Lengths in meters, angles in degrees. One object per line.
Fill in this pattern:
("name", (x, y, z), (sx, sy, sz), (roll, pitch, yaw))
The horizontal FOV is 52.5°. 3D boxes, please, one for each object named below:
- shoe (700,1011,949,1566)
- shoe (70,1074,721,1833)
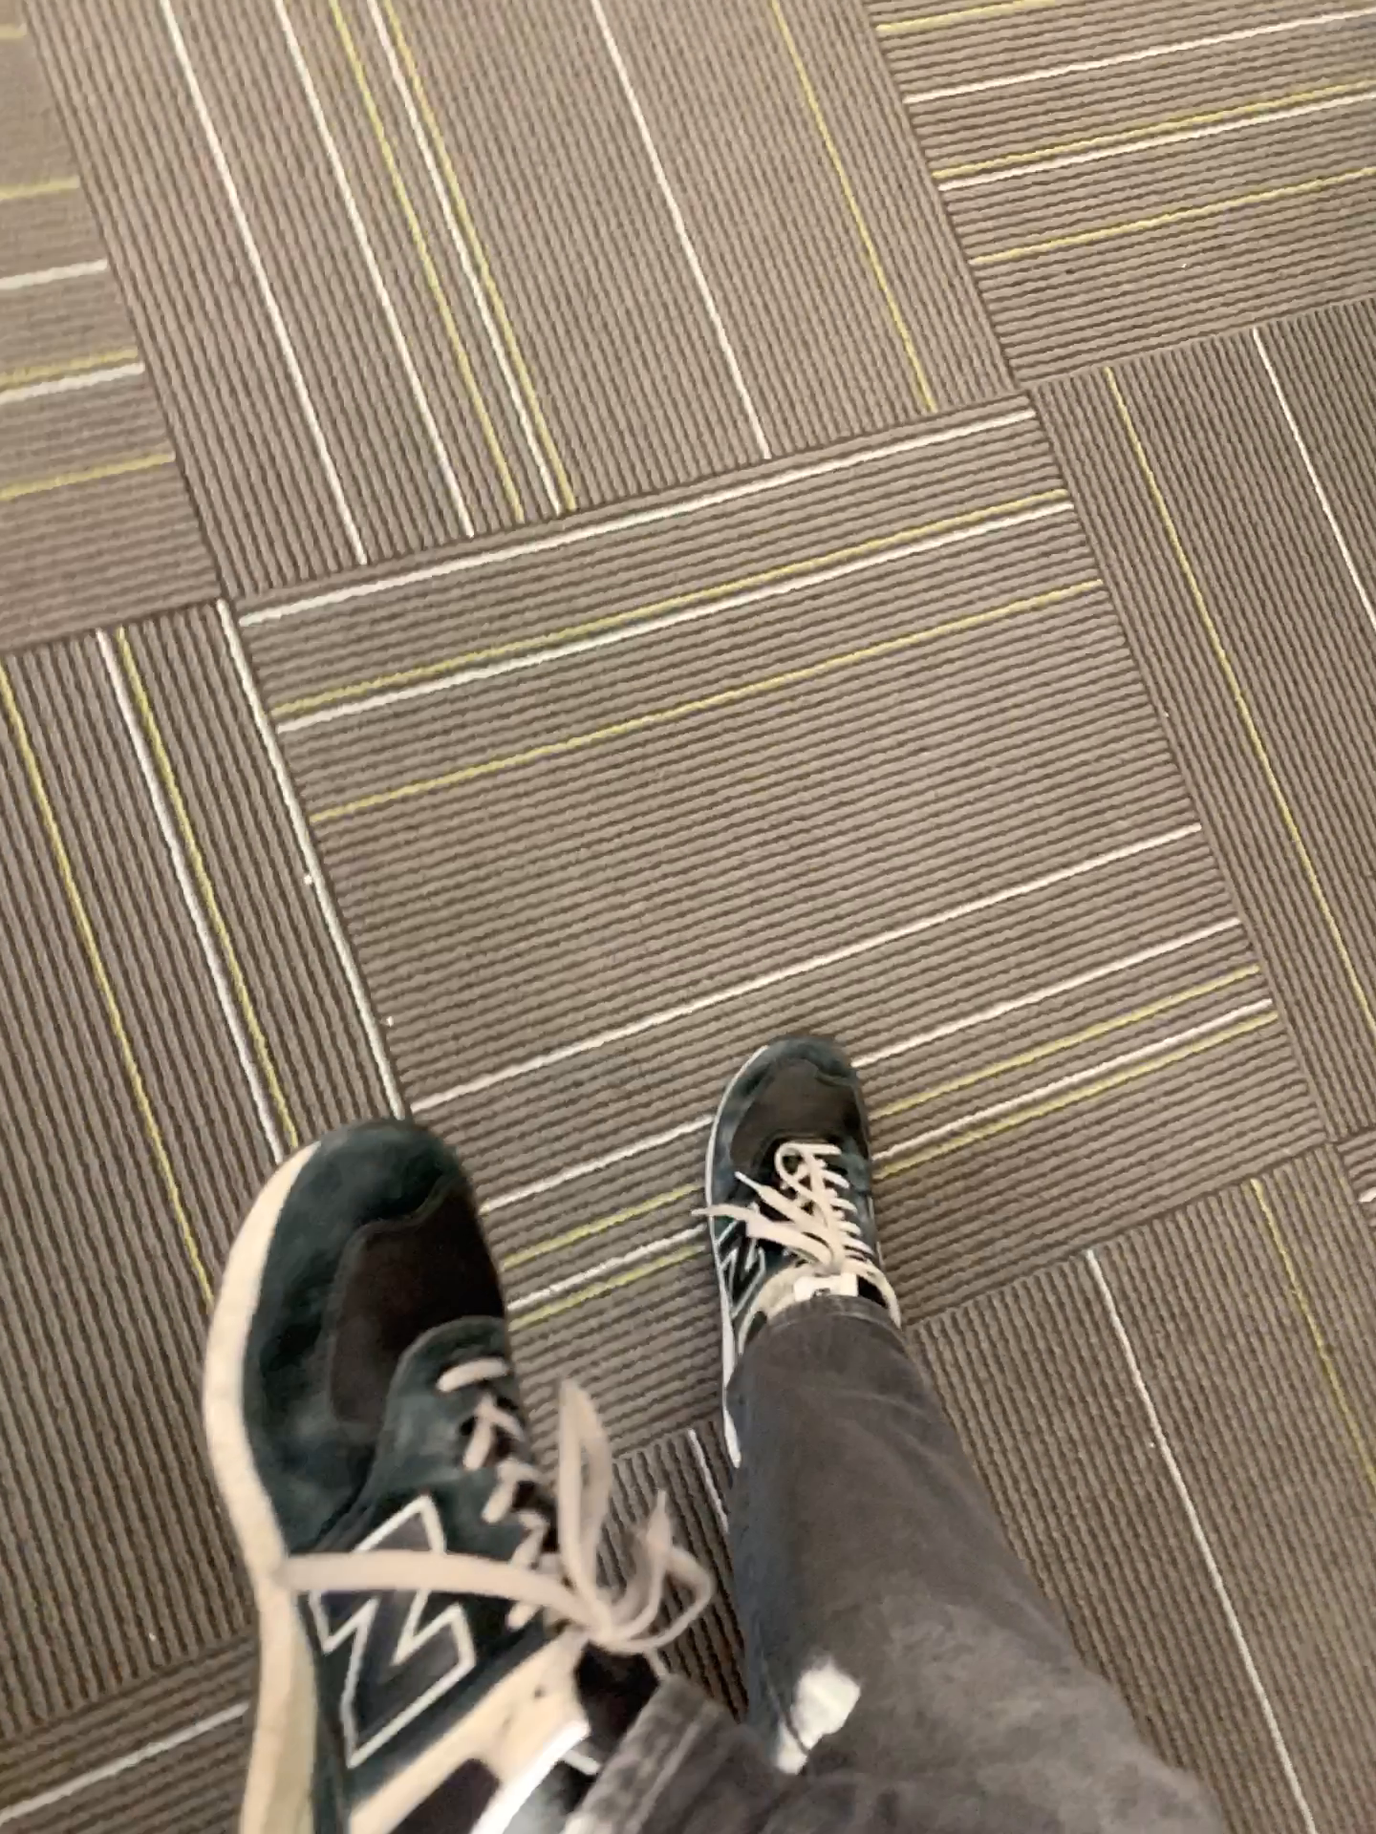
("shoe", (0.079, 0.218, 0.863), (0.115, 0.133, 0.304), (3, 80, -12))
("shoe", (-0.075, 0.203, 0.413), (0.133, 0.115, 0.304), (-3, 80, 24))
